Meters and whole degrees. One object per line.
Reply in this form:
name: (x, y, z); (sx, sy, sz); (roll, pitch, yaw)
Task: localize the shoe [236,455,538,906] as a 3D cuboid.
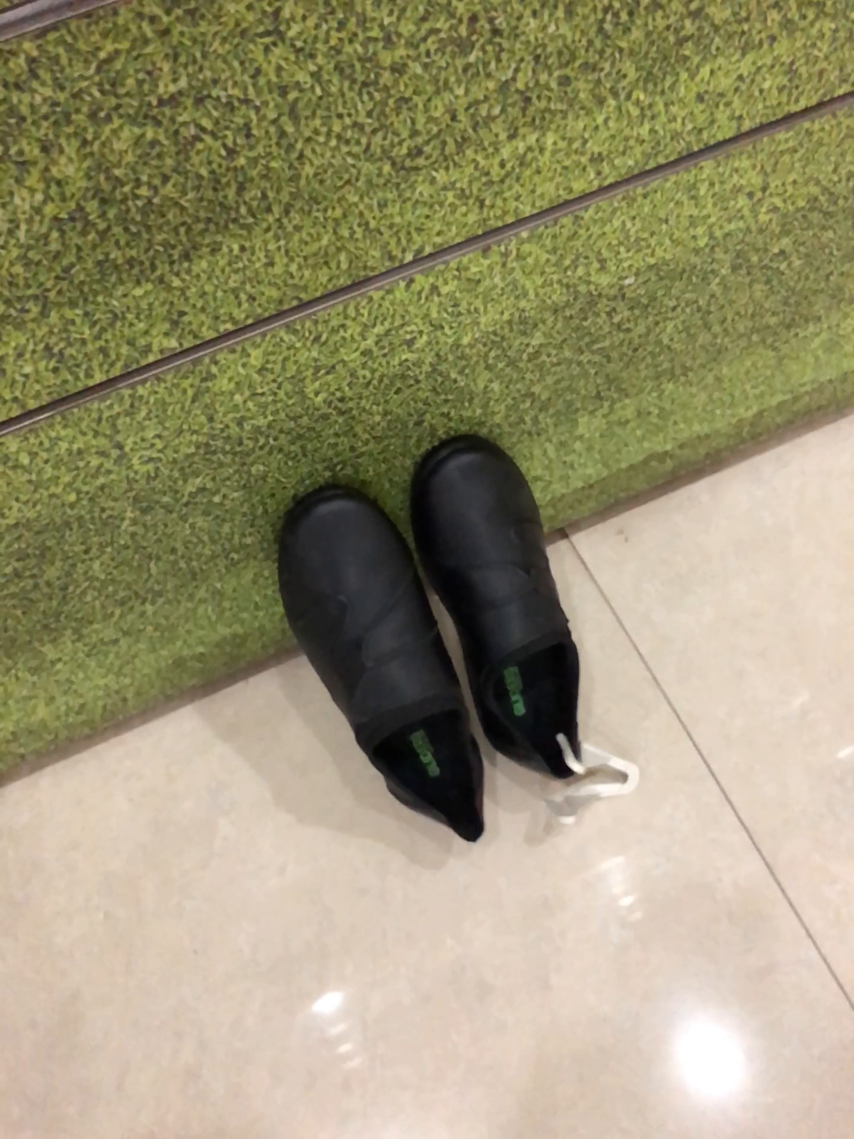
shoe: (-0.024, 0.062, 0.565); (0.090, 0.081, 0.236); (-22, 103, -5)

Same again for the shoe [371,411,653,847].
shoe: (0.050, 0.032, 0.572); (0.080, 0.081, 0.236); (-22, 103, -5)
